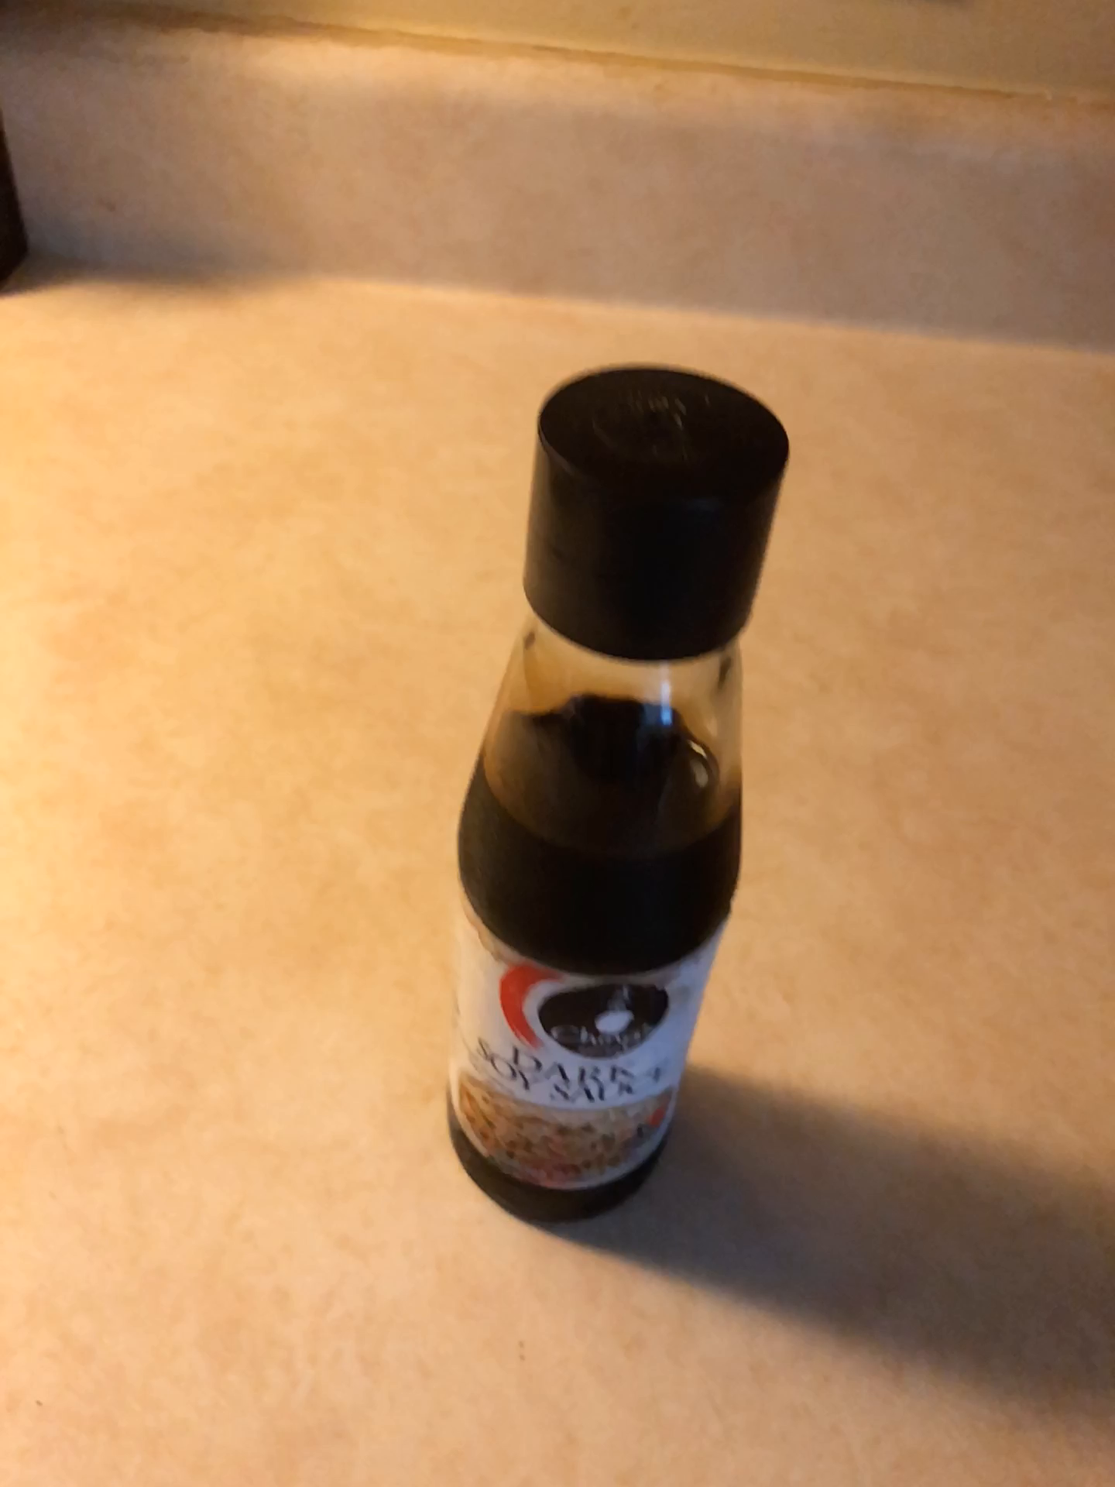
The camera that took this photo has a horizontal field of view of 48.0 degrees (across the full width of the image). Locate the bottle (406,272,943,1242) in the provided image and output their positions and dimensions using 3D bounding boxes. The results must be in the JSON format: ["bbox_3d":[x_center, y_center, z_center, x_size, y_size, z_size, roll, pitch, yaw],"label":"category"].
[{"bbox_3d":[0.005,0.018,0.222,0.060,0.180,0.060,3,44,-3],"label":"bottle"}]
